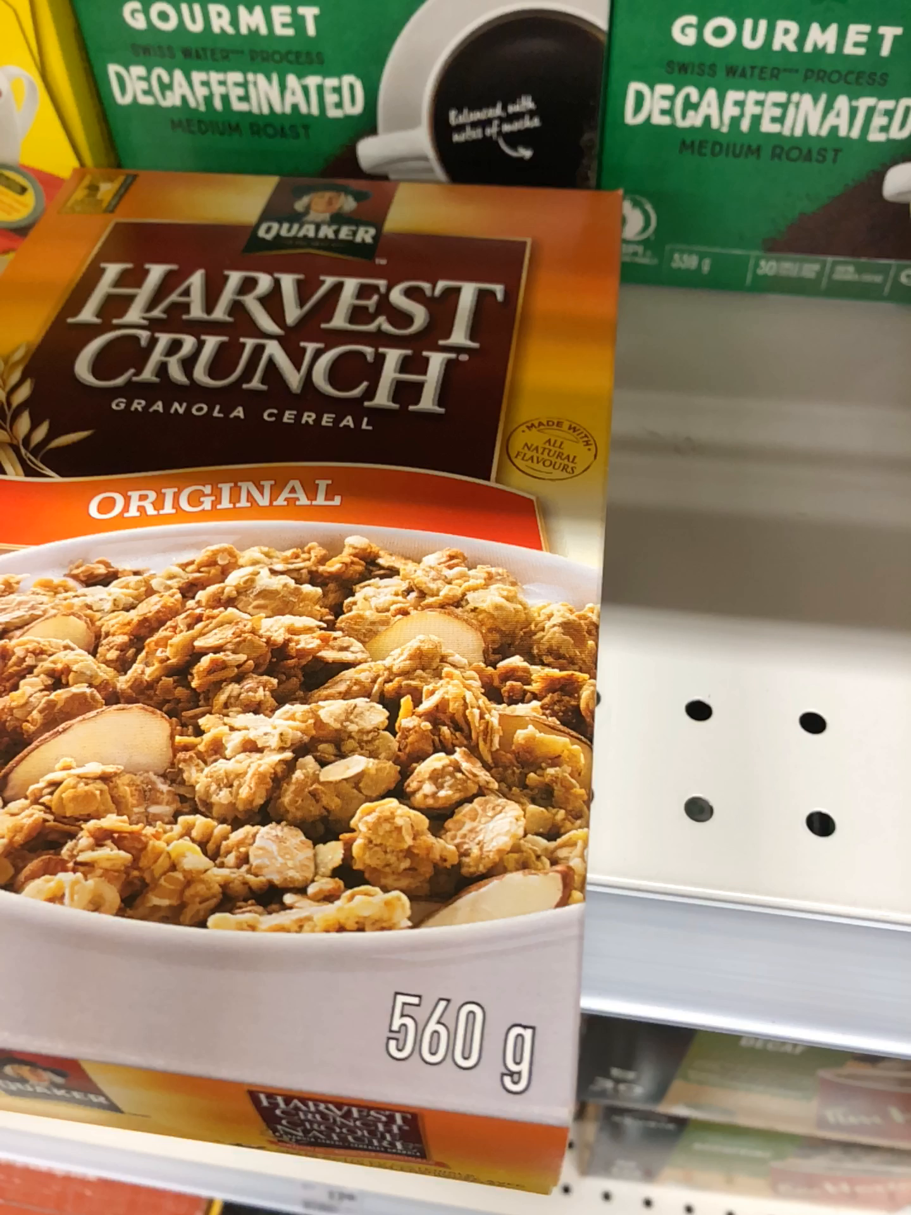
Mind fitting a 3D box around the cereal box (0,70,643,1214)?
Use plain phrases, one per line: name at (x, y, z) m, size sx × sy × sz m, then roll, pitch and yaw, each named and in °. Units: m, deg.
cereal box at (-0.048, -0.034, 0.237) m, size 0.170 × 0.050 × 0.281 m, roll 5°, pitch 51°, yaw 6°
